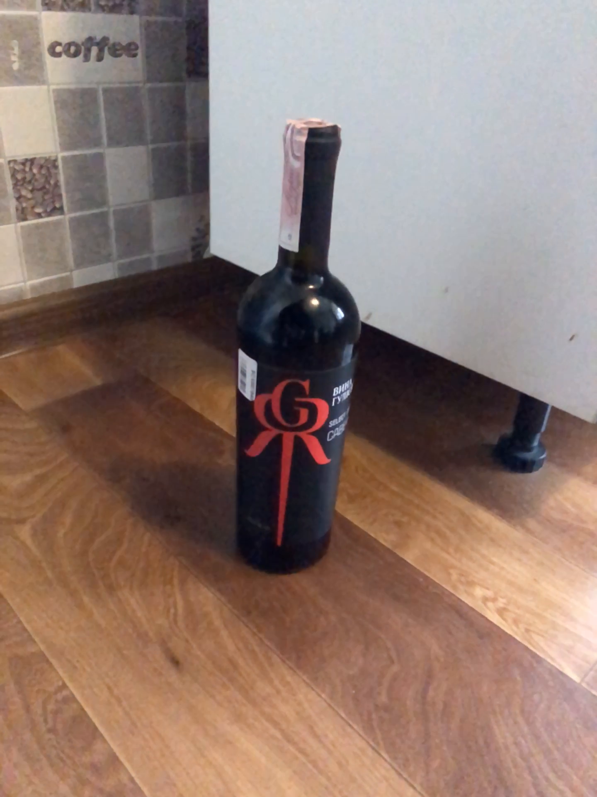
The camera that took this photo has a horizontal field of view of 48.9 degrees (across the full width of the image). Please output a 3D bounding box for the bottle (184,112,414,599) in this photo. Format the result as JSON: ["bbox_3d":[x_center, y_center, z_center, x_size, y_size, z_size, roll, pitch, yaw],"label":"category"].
[{"bbox_3d":[-0.010,-0.022,0.436,0.090,0.297,0.090,3,30,-2],"label":"bottle"}]
